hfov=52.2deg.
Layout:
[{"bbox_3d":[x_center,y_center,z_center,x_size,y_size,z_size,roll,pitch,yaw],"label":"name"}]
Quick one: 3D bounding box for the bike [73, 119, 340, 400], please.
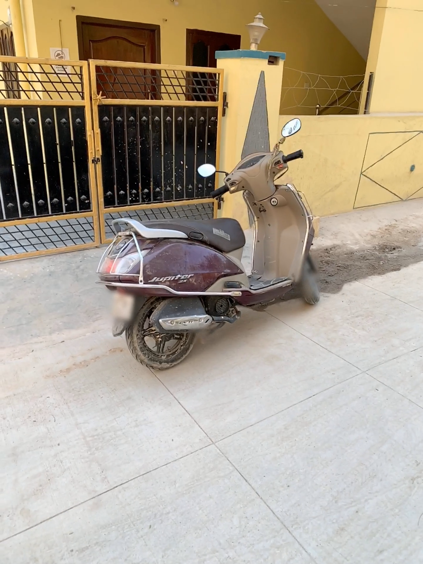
[{"bbox_3d":[0.038,-0.280,2.700,1.529,1.157,0.615,-24,34,-38],"label":"bike"}]
